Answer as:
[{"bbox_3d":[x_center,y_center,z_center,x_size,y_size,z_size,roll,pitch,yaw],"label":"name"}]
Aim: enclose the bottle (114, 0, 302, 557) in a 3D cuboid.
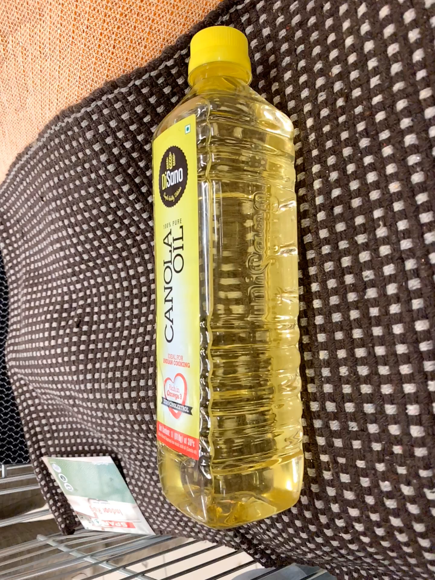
[{"bbox_3d":[-0.007,-0.025,0.215,0.070,0.060,0.250,-3,87,57],"label":"bottle"}]
